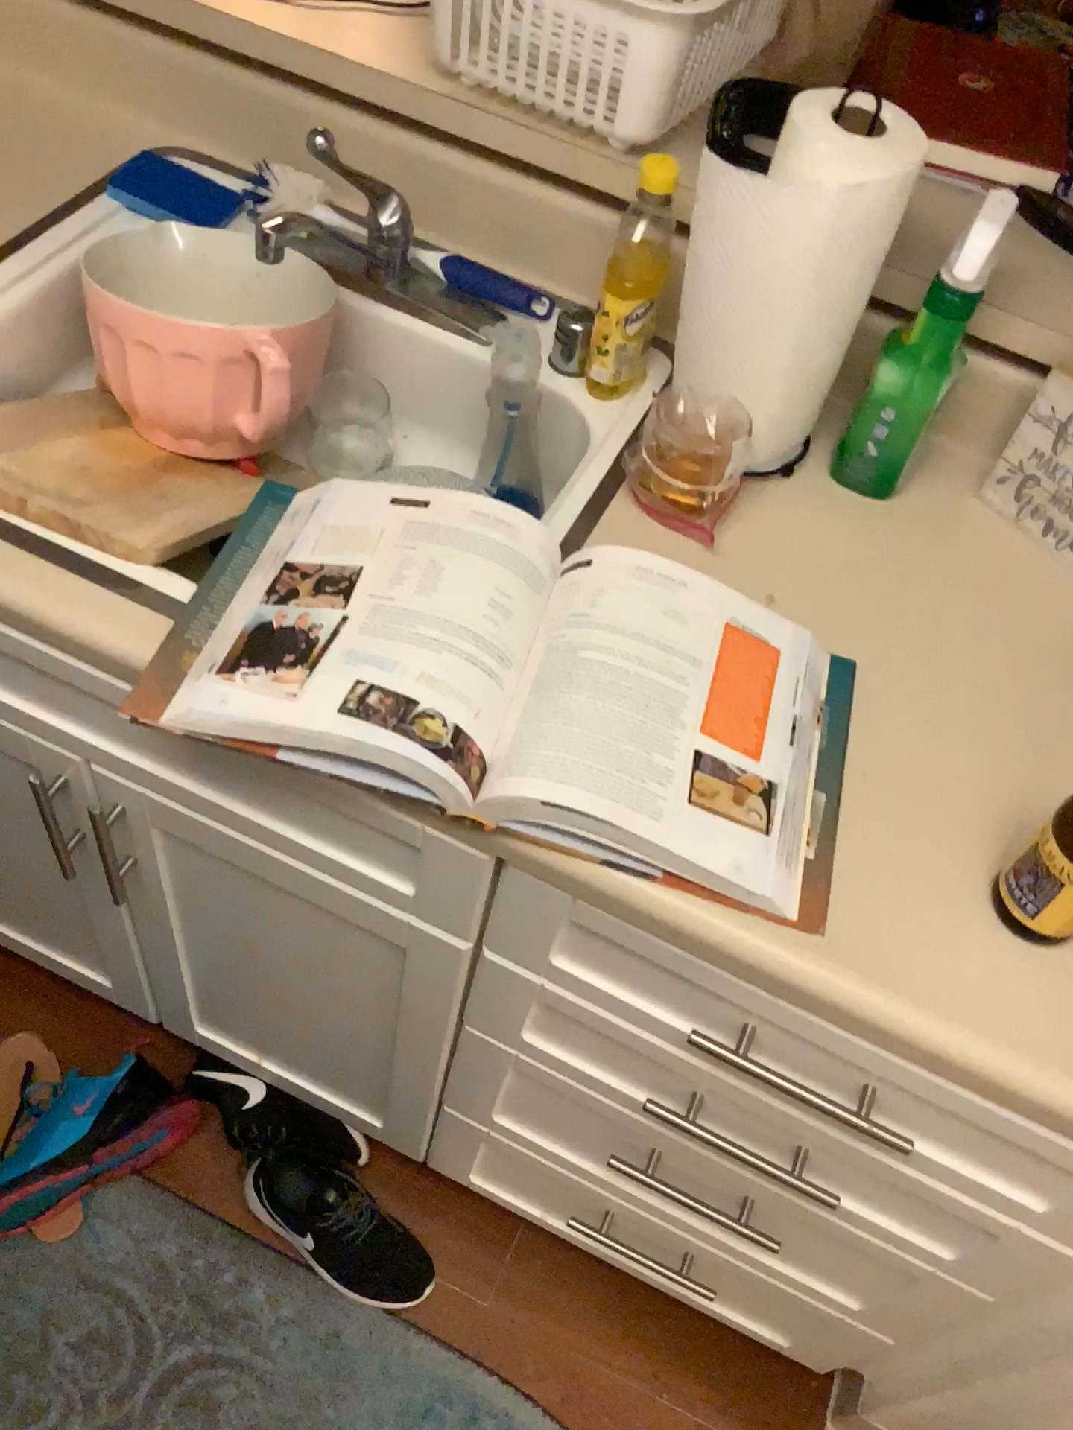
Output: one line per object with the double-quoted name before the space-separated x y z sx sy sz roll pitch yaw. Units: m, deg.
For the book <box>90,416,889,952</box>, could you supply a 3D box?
"book" -0.009 -0.044 0.893 0.530 0.040 0.310 17 51 2
